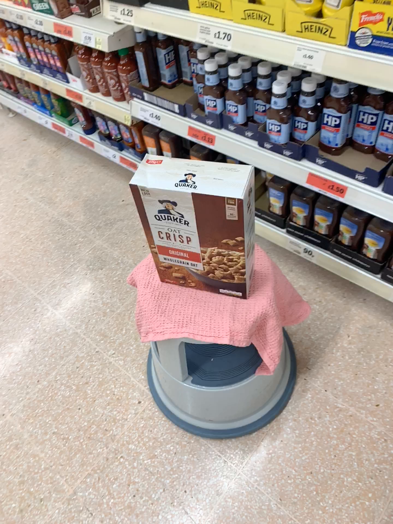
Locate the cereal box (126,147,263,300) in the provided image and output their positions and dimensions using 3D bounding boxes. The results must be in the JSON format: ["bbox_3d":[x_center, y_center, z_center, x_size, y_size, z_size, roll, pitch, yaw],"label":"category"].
[{"bbox_3d":[0.013,-0.059,0.716,0.190,0.268,0.091,10,55,17],"label":"cereal box"}]
